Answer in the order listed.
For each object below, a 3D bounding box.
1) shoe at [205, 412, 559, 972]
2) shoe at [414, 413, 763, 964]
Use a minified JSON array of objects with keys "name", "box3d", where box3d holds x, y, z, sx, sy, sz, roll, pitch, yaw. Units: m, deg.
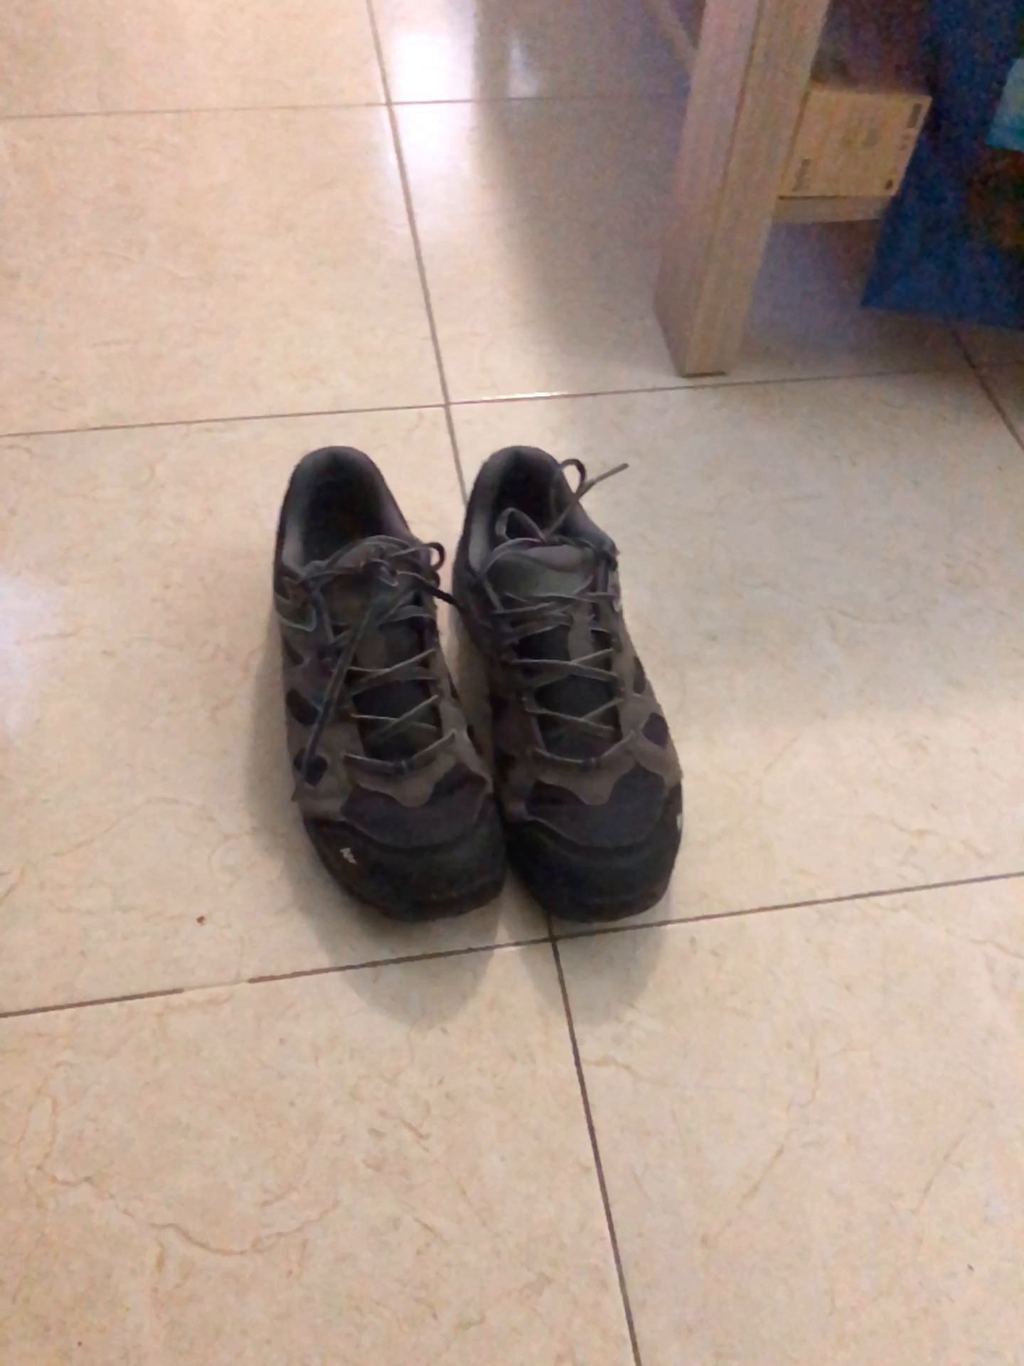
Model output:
[{"name":"shoe","box3d":[-0.086,-0.008,0.675,0.120,0.110,0.311,-14,56,-13]},{"name":"shoe","box3d":[0.028,-0.010,0.676,0.120,0.110,0.311,-9,55,-10]}]
